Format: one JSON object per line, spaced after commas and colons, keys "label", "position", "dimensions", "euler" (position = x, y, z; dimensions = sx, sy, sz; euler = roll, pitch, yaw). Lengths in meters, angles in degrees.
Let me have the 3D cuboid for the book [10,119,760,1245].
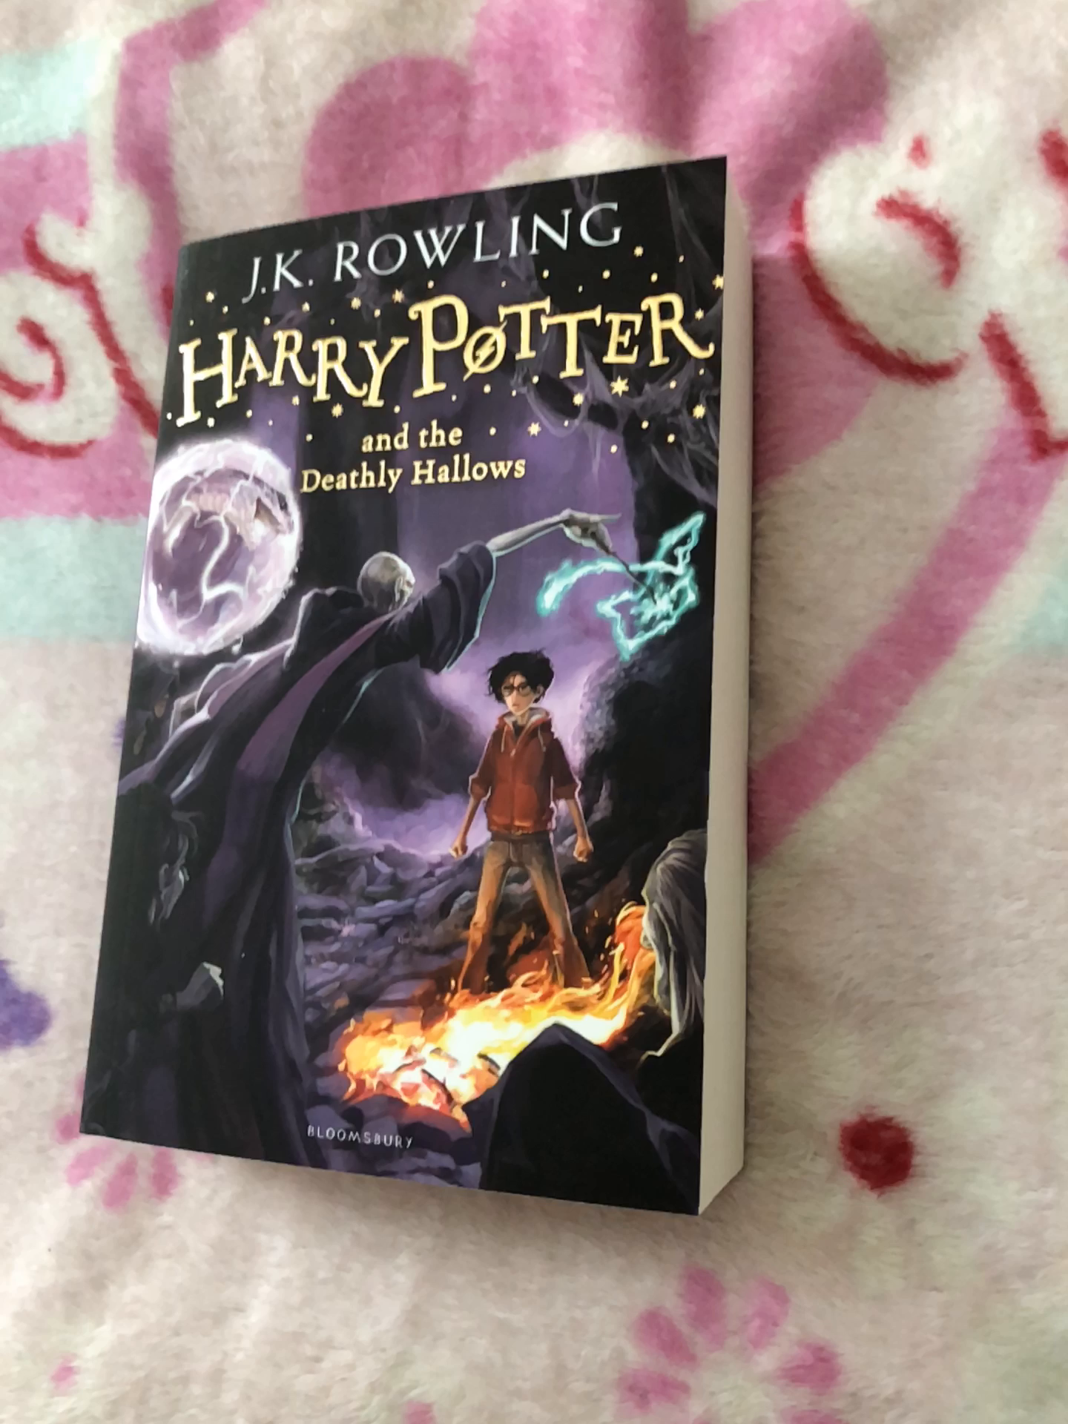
{"label": "book", "position": [-0.024, -0.006, 0.244], "dimensions": [0.126, 0.060, 0.187], "euler": [-1, 80, 21]}
